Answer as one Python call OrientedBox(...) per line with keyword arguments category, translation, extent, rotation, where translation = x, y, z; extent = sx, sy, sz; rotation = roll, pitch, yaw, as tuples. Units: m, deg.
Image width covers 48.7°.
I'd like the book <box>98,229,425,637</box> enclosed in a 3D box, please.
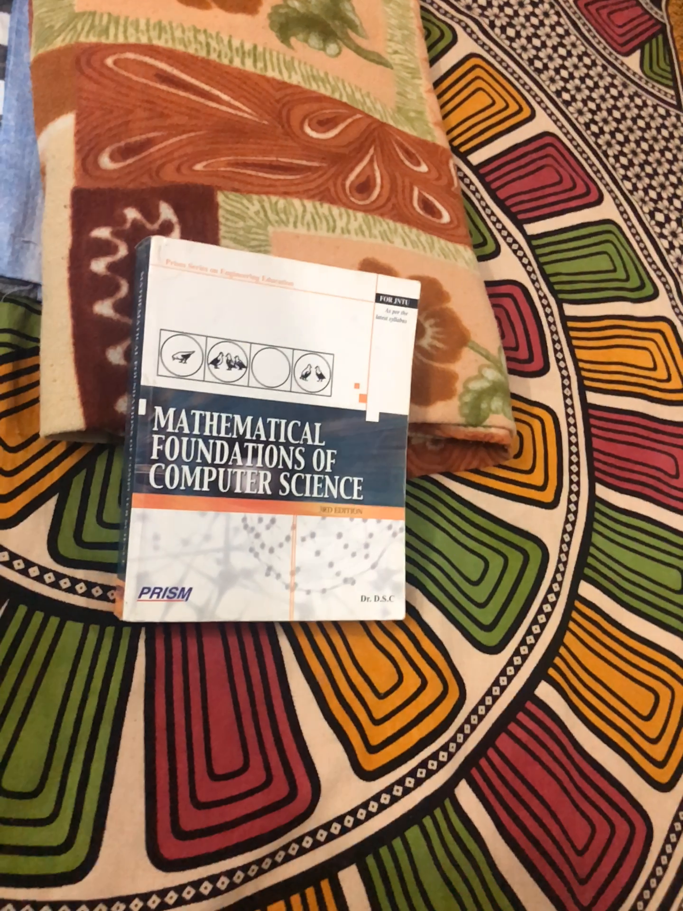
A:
OrientedBox(category="book", translation=(-0.047, -0.007, 0.486), extent=(0.190, 0.050, 0.230), rotation=(4, 87, -24))
